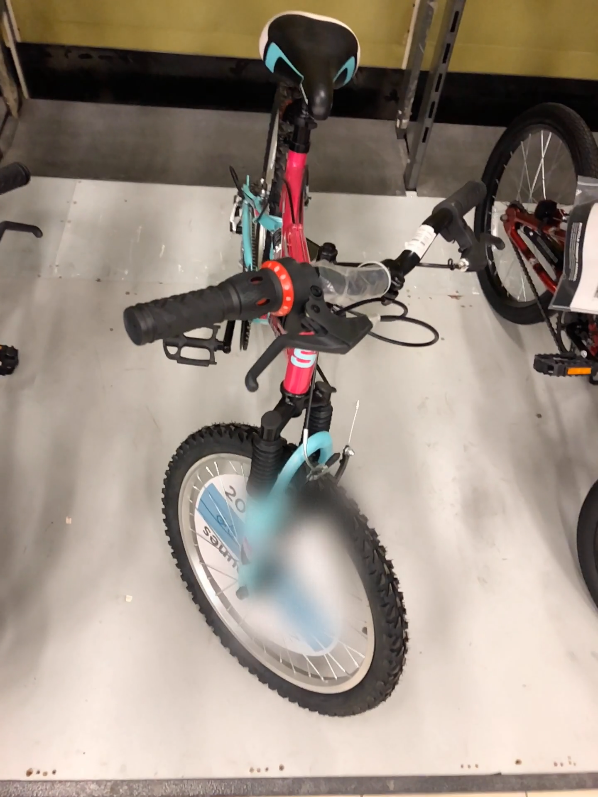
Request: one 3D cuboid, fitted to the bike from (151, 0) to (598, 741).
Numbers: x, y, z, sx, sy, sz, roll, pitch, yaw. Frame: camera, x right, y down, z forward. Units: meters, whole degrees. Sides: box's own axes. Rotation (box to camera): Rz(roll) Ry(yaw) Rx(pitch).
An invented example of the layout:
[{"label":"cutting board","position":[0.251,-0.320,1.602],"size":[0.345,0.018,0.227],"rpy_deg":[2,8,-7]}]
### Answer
[{"label":"bike","position":[0.099,-0.164,1.113],"size":[0.563,0.765,1.218],"rpy_deg":[-4,60,-8]}]
